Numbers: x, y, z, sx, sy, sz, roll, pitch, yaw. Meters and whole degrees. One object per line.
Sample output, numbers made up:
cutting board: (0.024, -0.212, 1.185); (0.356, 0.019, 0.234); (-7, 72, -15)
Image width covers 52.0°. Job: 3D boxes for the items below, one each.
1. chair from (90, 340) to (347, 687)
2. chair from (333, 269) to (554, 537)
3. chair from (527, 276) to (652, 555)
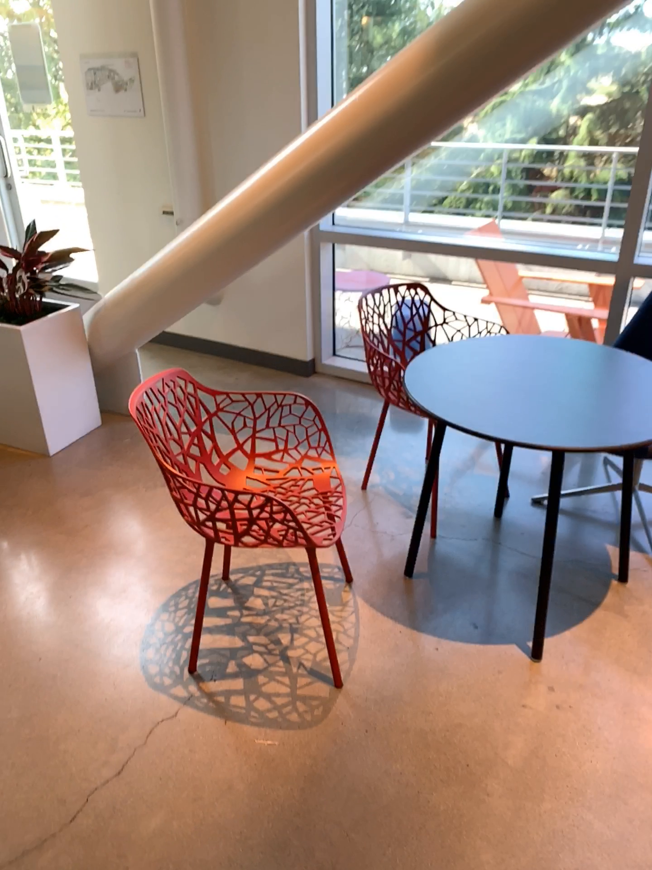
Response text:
chair: (-0.234, 0.196, 1.912); (0.530, 0.765, 0.563); (3, 27, 7)
chair: (0.404, -0.153, 2.523); (0.560, 0.765, 0.533); (-15, 31, -26)
chair: (1.174, -0.104, 2.441); (0.510, 0.765, 0.563); (-15, 30, -25)
